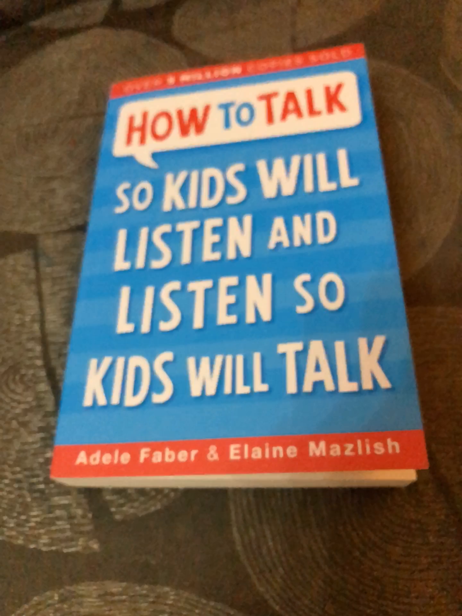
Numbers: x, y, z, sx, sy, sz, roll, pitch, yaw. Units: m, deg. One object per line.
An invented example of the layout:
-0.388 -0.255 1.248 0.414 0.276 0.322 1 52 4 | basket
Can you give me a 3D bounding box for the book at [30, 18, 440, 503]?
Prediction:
-0.001 -0.028 0.230 0.140 0.030 0.211 -4 67 10 | book
